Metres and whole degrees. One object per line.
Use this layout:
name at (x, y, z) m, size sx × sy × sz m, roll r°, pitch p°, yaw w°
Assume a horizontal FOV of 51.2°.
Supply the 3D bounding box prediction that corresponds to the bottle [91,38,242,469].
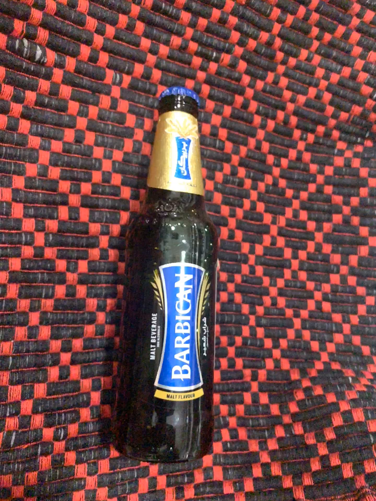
bottle at (-0.011, -0.001, 0.228) m, size 0.060 × 0.060 × 0.210 m, roll 7°, pitch 78°, yaw -28°
